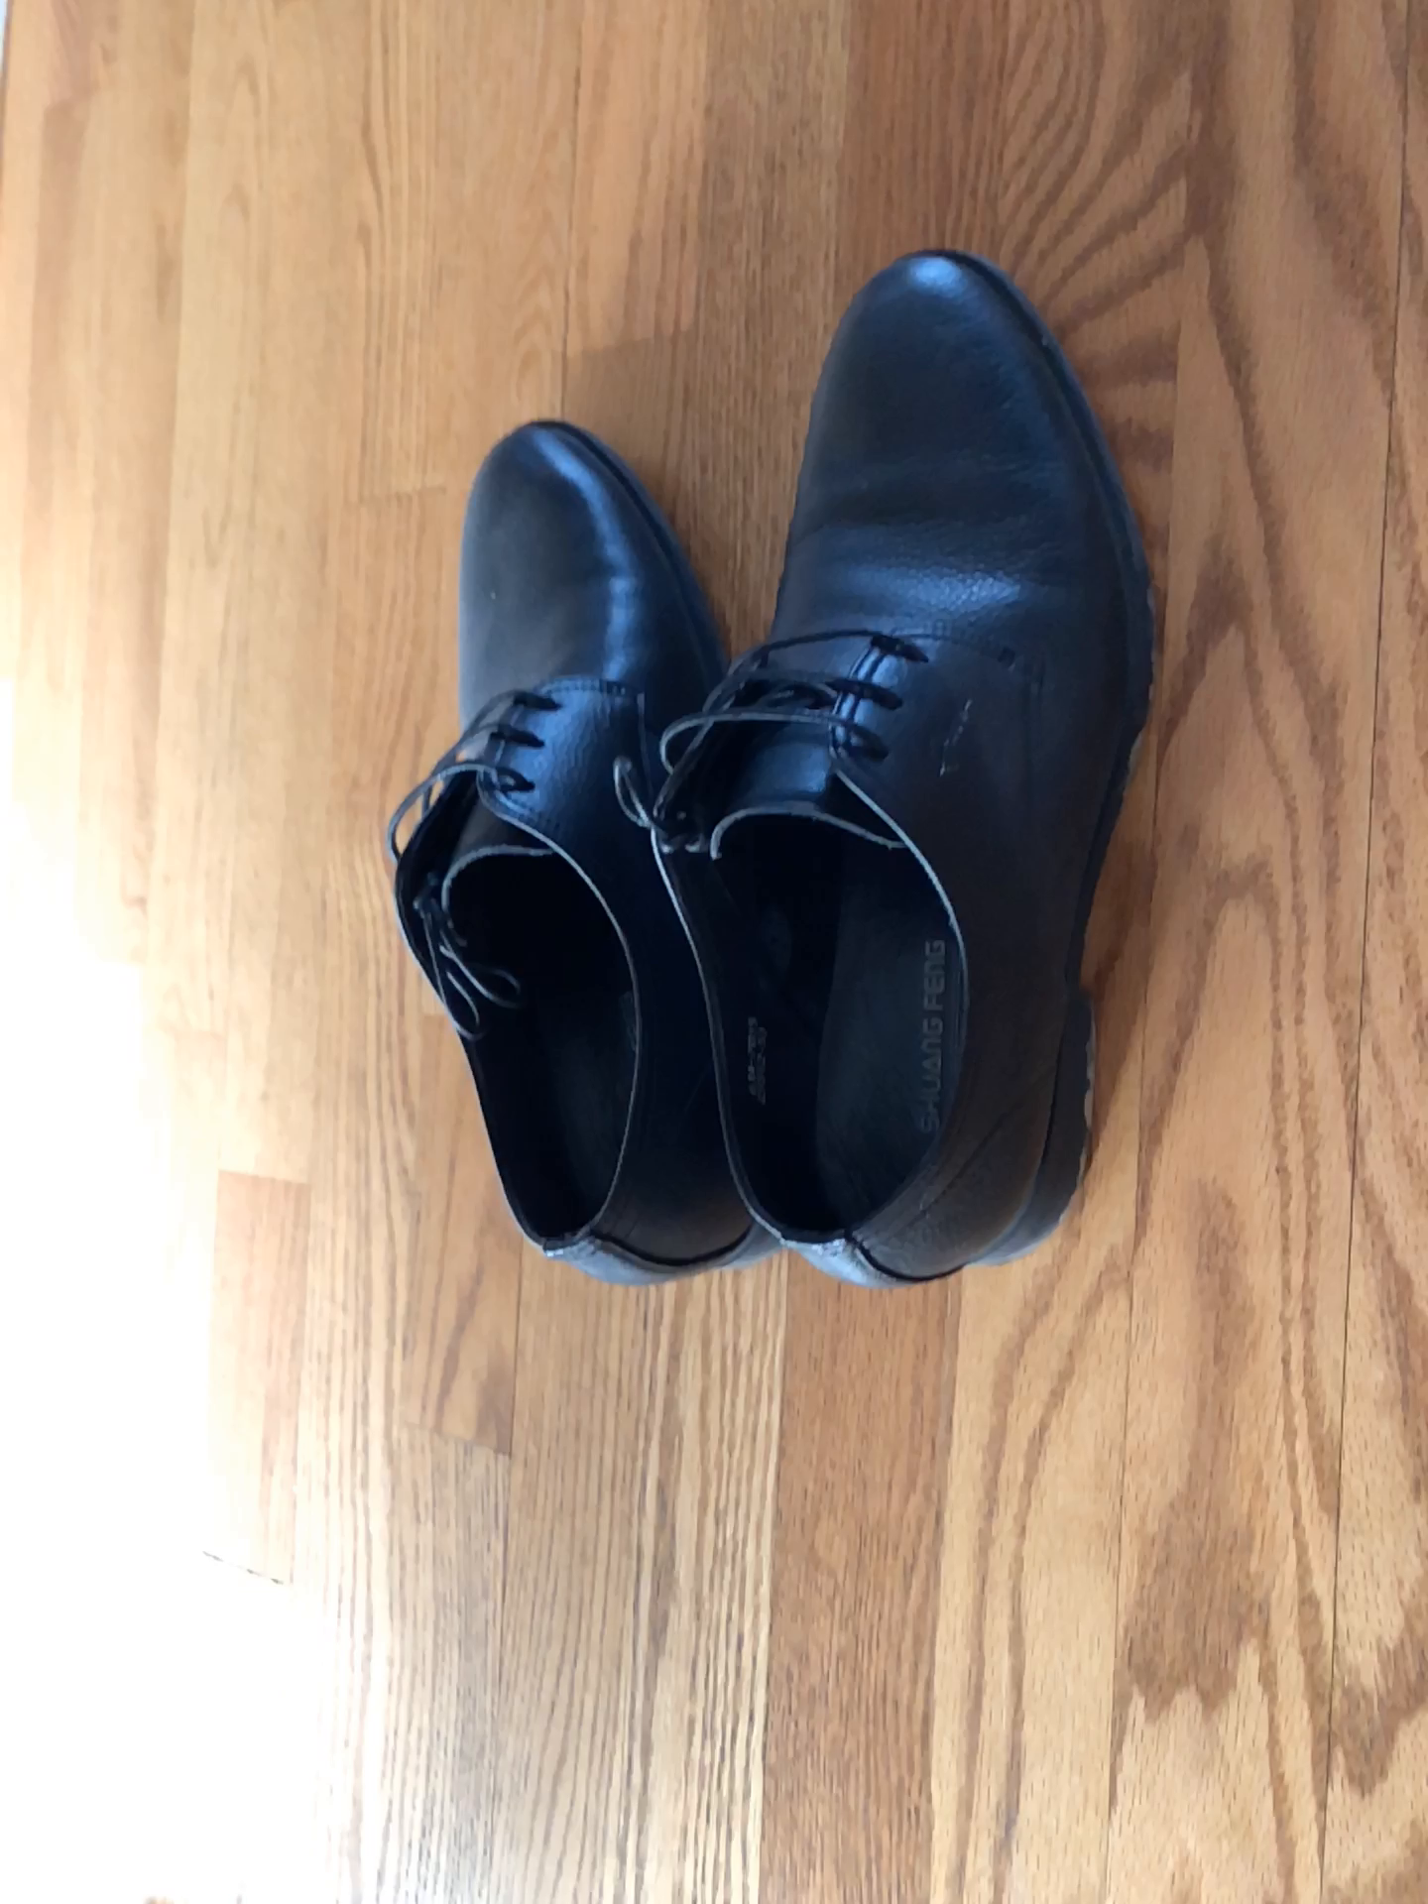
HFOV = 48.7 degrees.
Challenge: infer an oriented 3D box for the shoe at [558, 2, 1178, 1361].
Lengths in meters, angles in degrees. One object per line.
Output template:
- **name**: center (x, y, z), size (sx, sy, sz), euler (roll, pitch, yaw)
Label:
- **shoe**: center (0.047, -0.059, 0.427), size (0.110, 0.124, 0.299), euler (1, 88, 35)

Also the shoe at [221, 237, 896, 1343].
- **shoe**: center (-0.052, -0.044, 0.510), size (0.110, 0.124, 0.304), euler (-19, 76, 32)
